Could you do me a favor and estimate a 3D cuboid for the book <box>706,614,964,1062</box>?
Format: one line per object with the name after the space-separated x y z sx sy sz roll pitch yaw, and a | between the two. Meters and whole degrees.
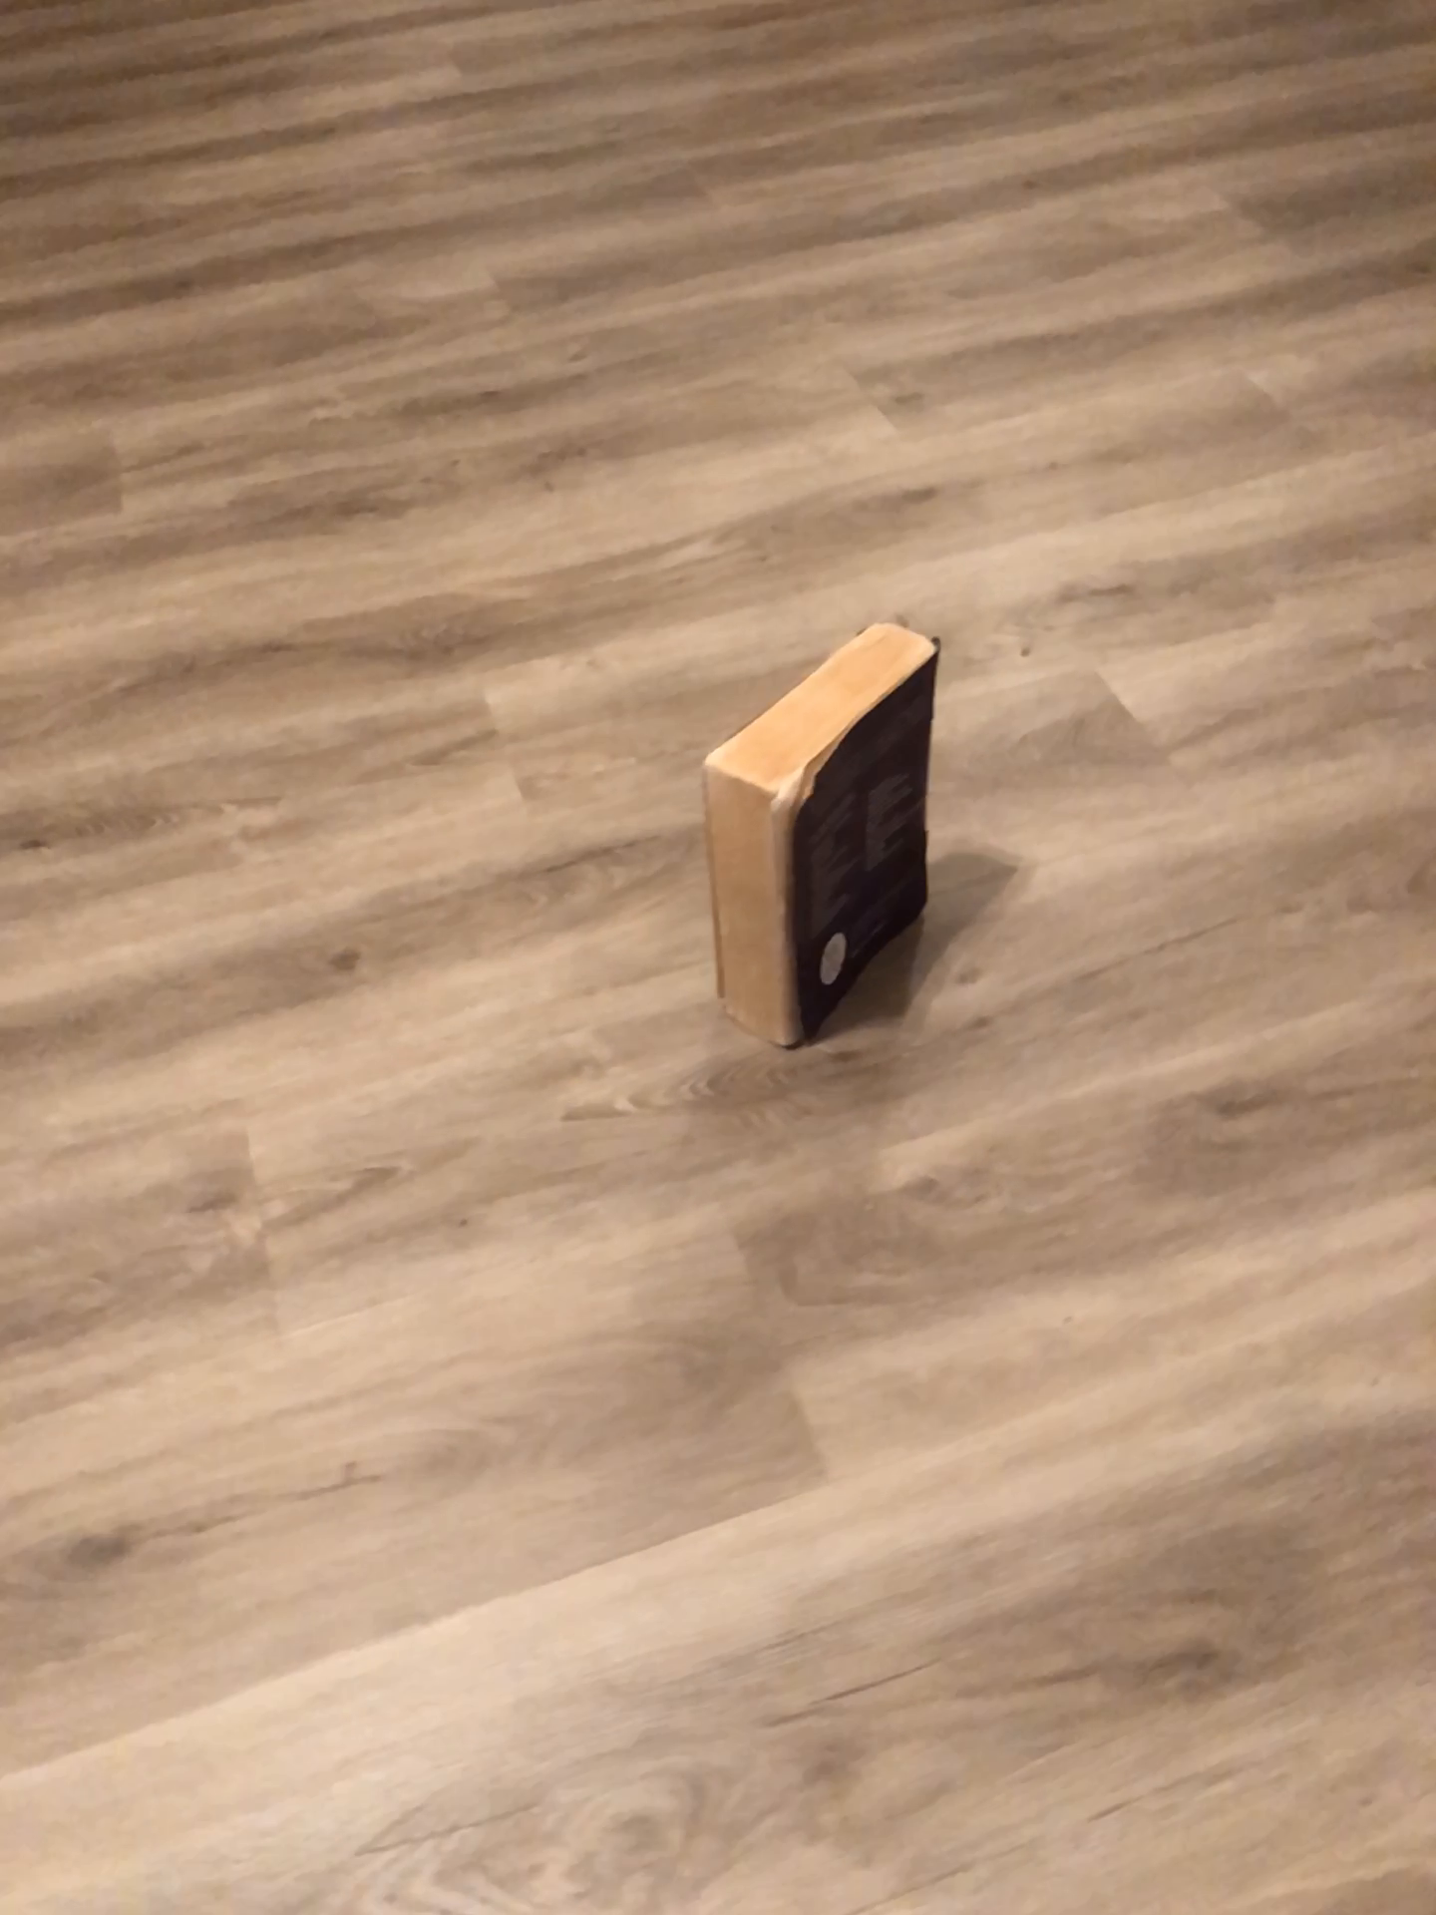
0.070 -0.067 0.951 0.060 0.219 0.155 31 57 26 | book
